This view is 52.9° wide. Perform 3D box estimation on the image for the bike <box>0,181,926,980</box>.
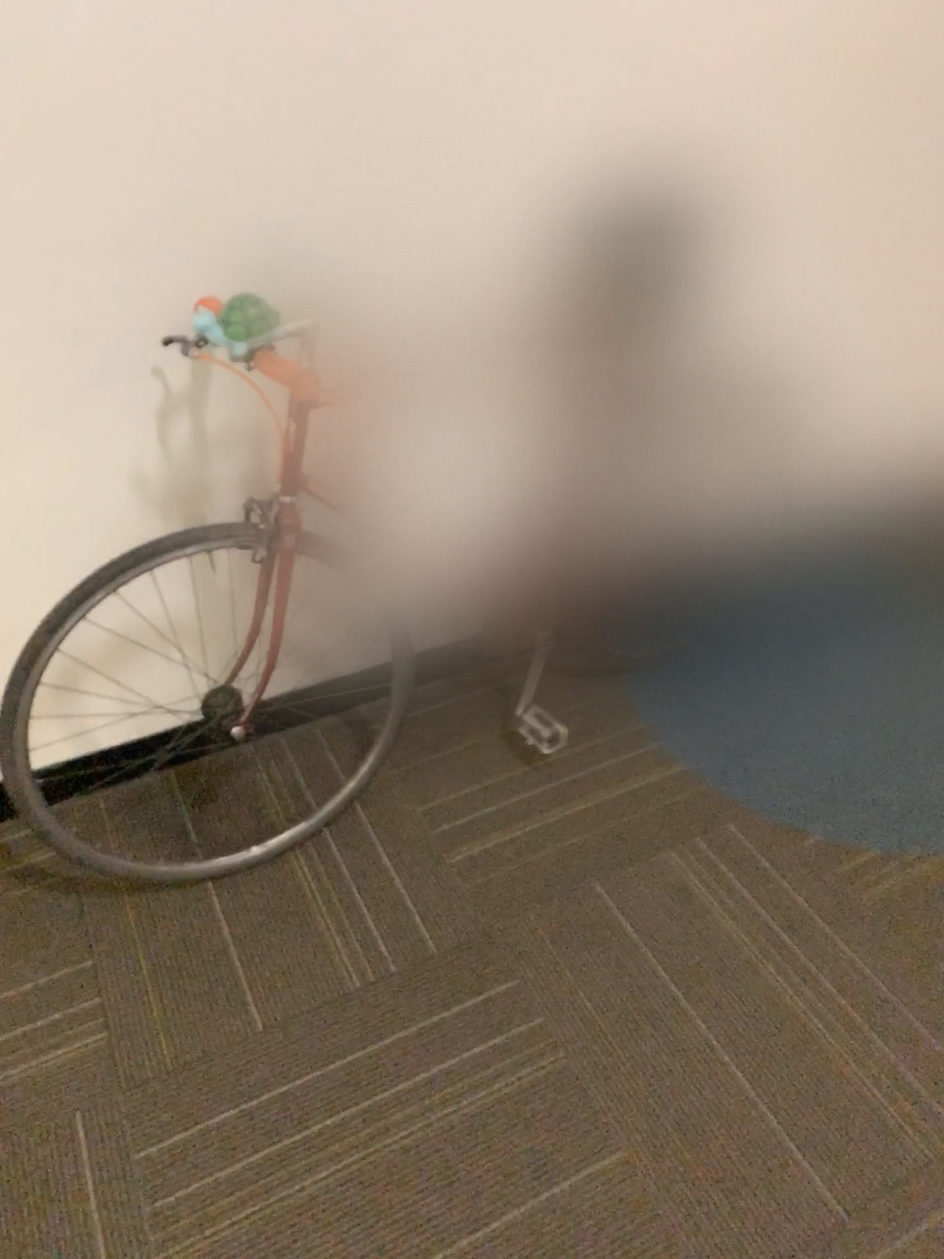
[{"bbox_3d":[-0.012,-0.191,1.721,1.628,0.909,0.450,-21,42,-27],"label":"bike"}]
